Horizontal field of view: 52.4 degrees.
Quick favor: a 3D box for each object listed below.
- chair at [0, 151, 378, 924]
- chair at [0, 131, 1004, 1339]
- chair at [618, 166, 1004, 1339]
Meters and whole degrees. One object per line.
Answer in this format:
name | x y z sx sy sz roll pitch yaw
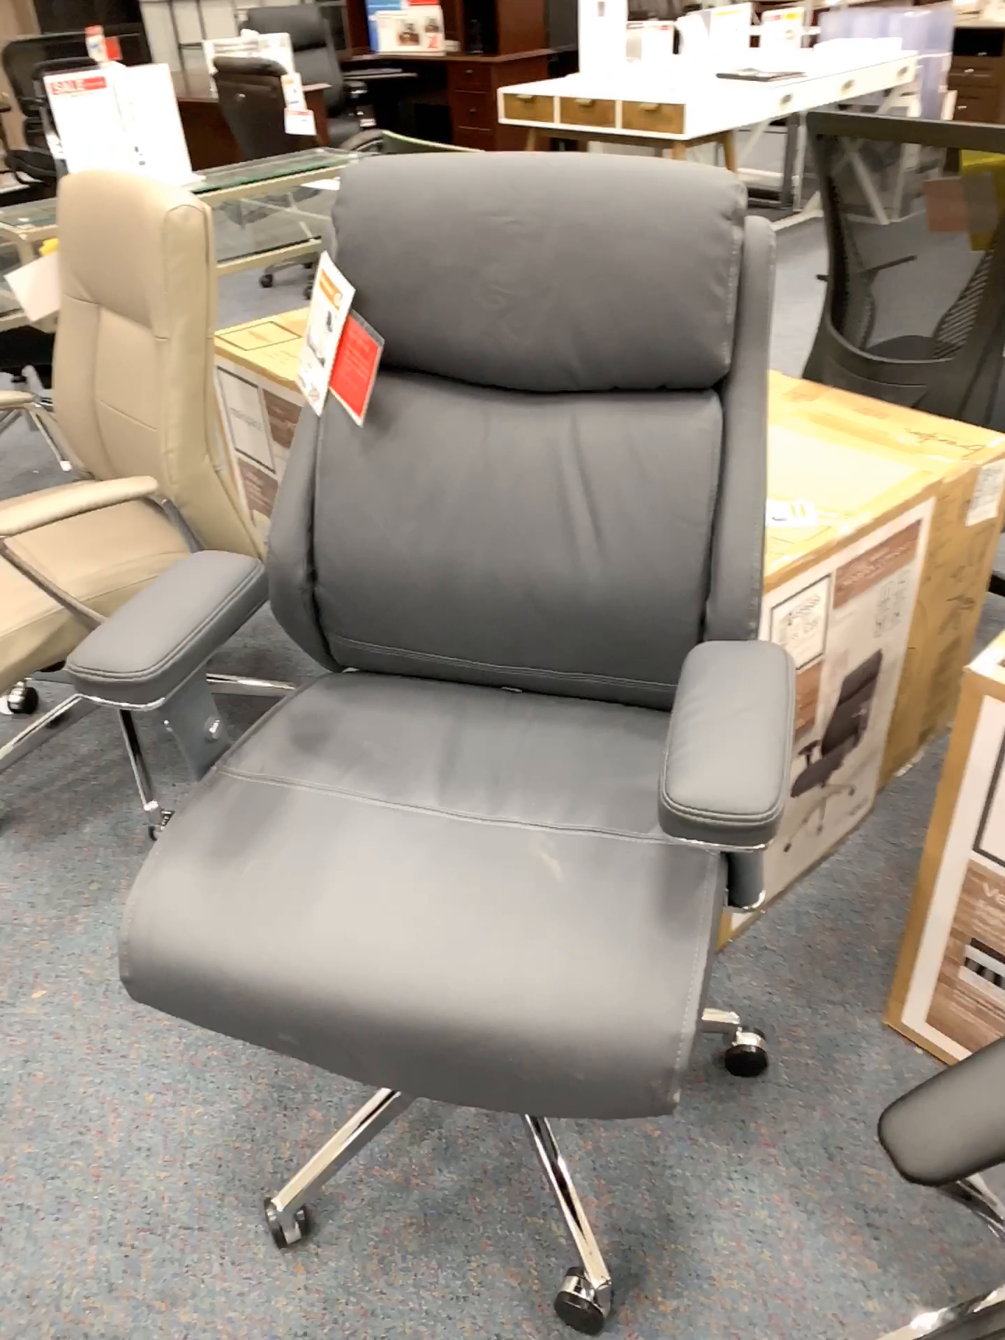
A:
chair | -0.802 -0.294 1.815 0.715 0.976 0.787 -29 42 -31
chair | 0.013 0.087 1.106 0.694 1.075 0.697 7 36 10
chair | 0.570 0.465 0.485 0.784 1.095 0.768 -13 36 -12
